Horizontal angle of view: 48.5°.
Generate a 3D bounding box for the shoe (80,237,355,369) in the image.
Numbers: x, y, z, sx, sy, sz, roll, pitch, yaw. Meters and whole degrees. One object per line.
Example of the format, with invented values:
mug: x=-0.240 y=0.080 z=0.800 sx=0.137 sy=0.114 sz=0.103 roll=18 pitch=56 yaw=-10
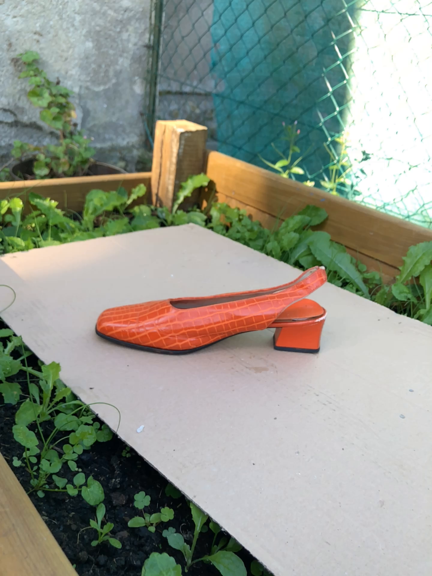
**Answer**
shoe: x=-0.002 y=0.016 z=0.510 sx=0.260 sy=0.089 sz=0.090 roll=4 pitch=27 yaw=-6
